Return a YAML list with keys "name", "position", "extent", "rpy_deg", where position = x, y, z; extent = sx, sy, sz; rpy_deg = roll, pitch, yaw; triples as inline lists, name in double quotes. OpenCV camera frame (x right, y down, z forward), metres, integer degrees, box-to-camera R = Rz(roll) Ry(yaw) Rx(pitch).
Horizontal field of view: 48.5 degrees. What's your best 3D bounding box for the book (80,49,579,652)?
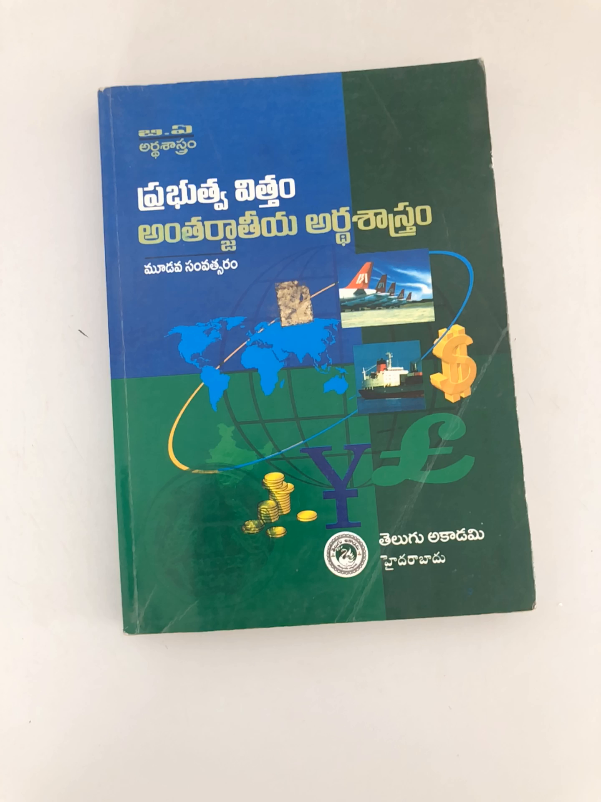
- name: "book"
  position: [0.007, -0.024, 0.298]
  extent: [0.190, 0.050, 0.240]
  rpy_deg: [-3, 84, 0]
